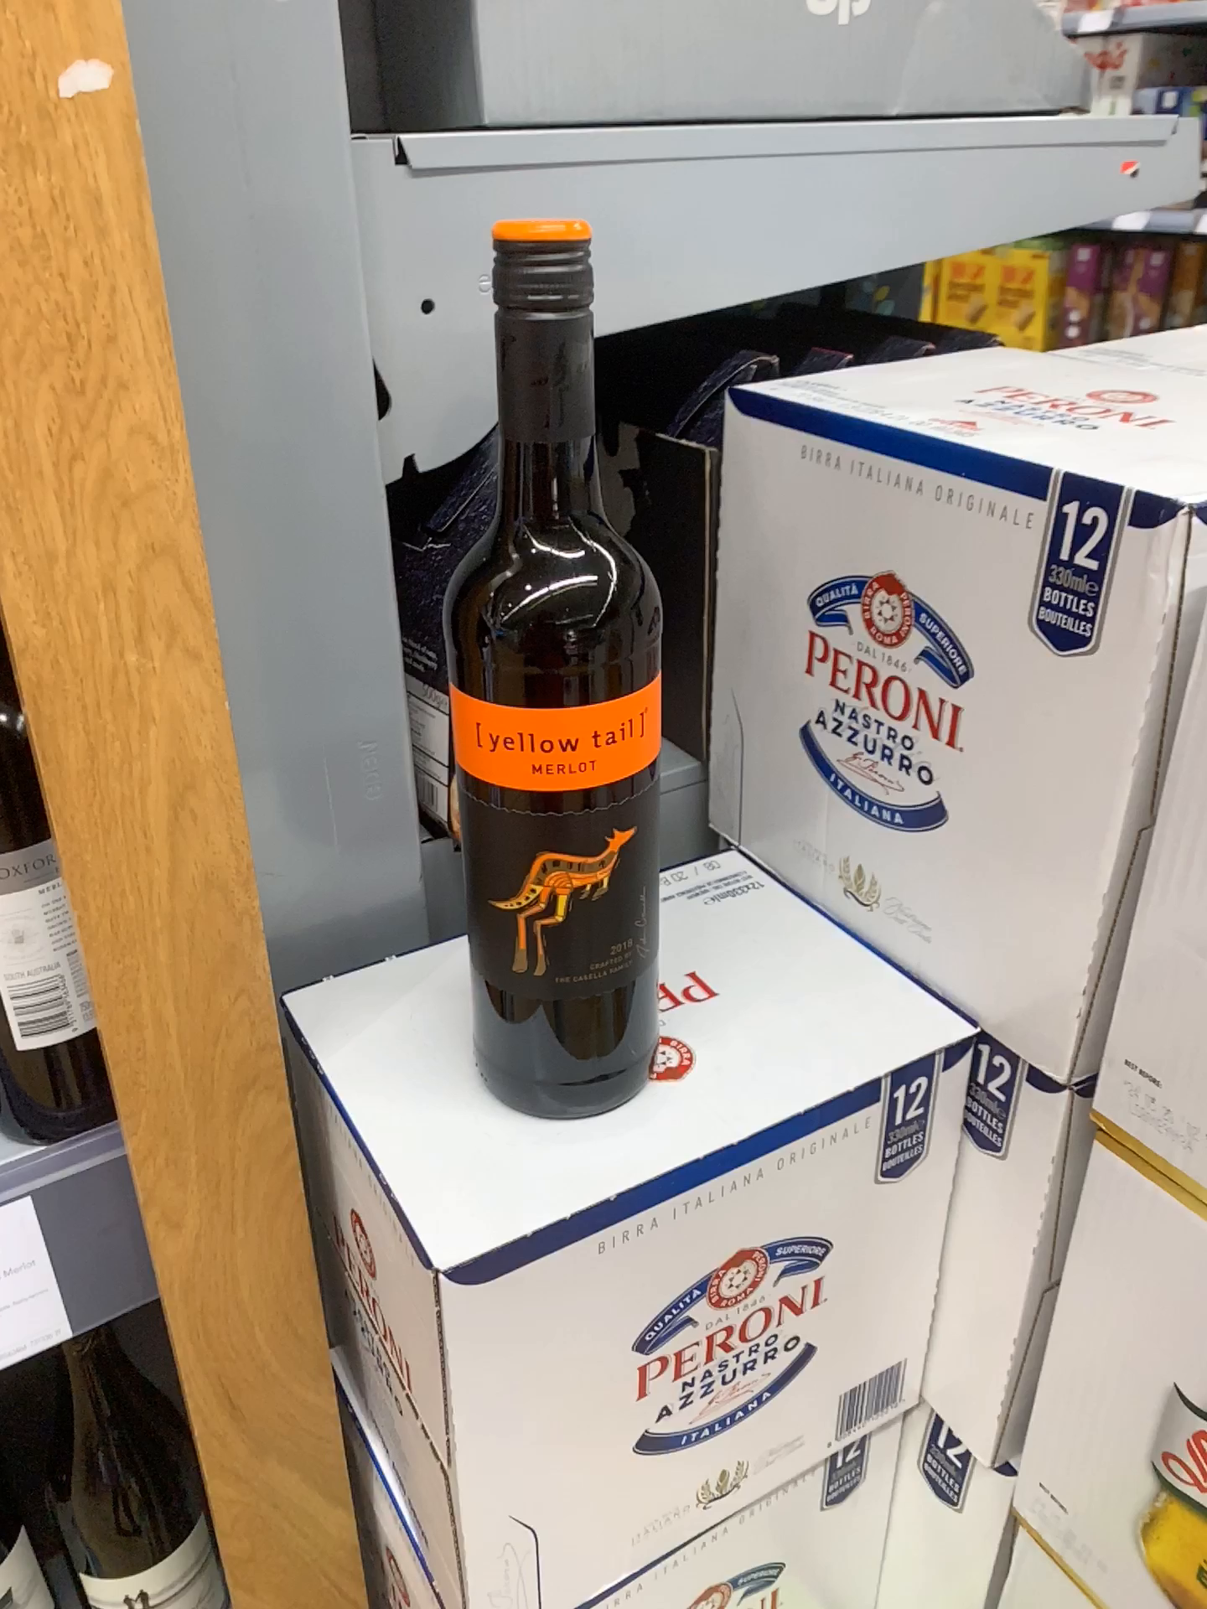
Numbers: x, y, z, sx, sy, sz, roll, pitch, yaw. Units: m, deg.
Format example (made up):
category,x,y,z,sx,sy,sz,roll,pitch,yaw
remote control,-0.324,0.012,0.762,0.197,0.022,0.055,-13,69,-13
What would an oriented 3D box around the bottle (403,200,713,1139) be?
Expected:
category,x,y,z,sx,sy,sz,roll,pitch,yaw
bottle,-0.013,-0.033,0.411,0.078,0.297,0.077,-1,27,0
